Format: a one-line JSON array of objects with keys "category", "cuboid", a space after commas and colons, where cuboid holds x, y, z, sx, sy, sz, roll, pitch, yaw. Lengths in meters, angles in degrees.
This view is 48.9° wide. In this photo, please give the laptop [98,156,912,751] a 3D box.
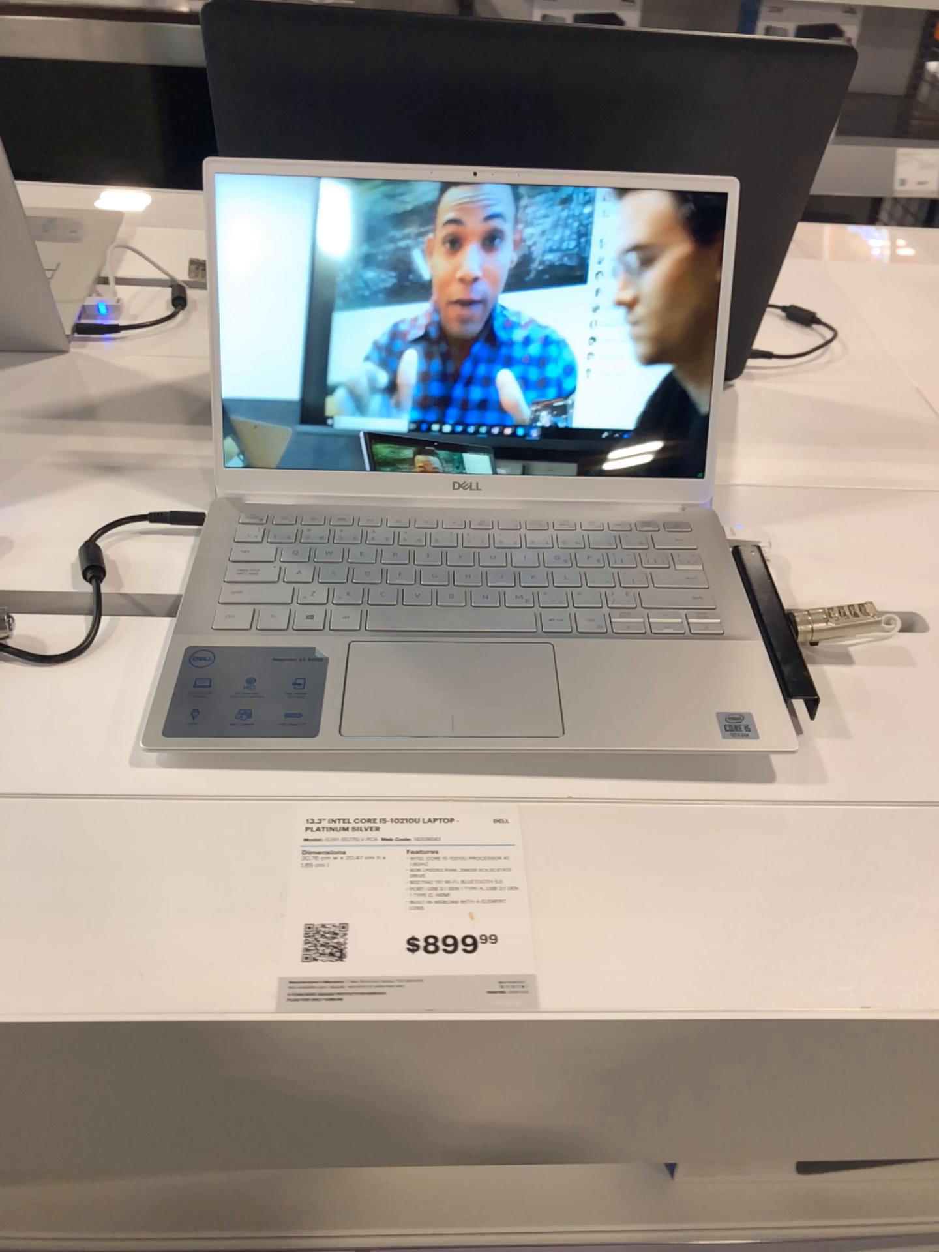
[{"category": "laptop", "cuboid": [0.007, -0.105, 0.533, 0.293, 0.165, 0.294, 1, 42, -1]}]
